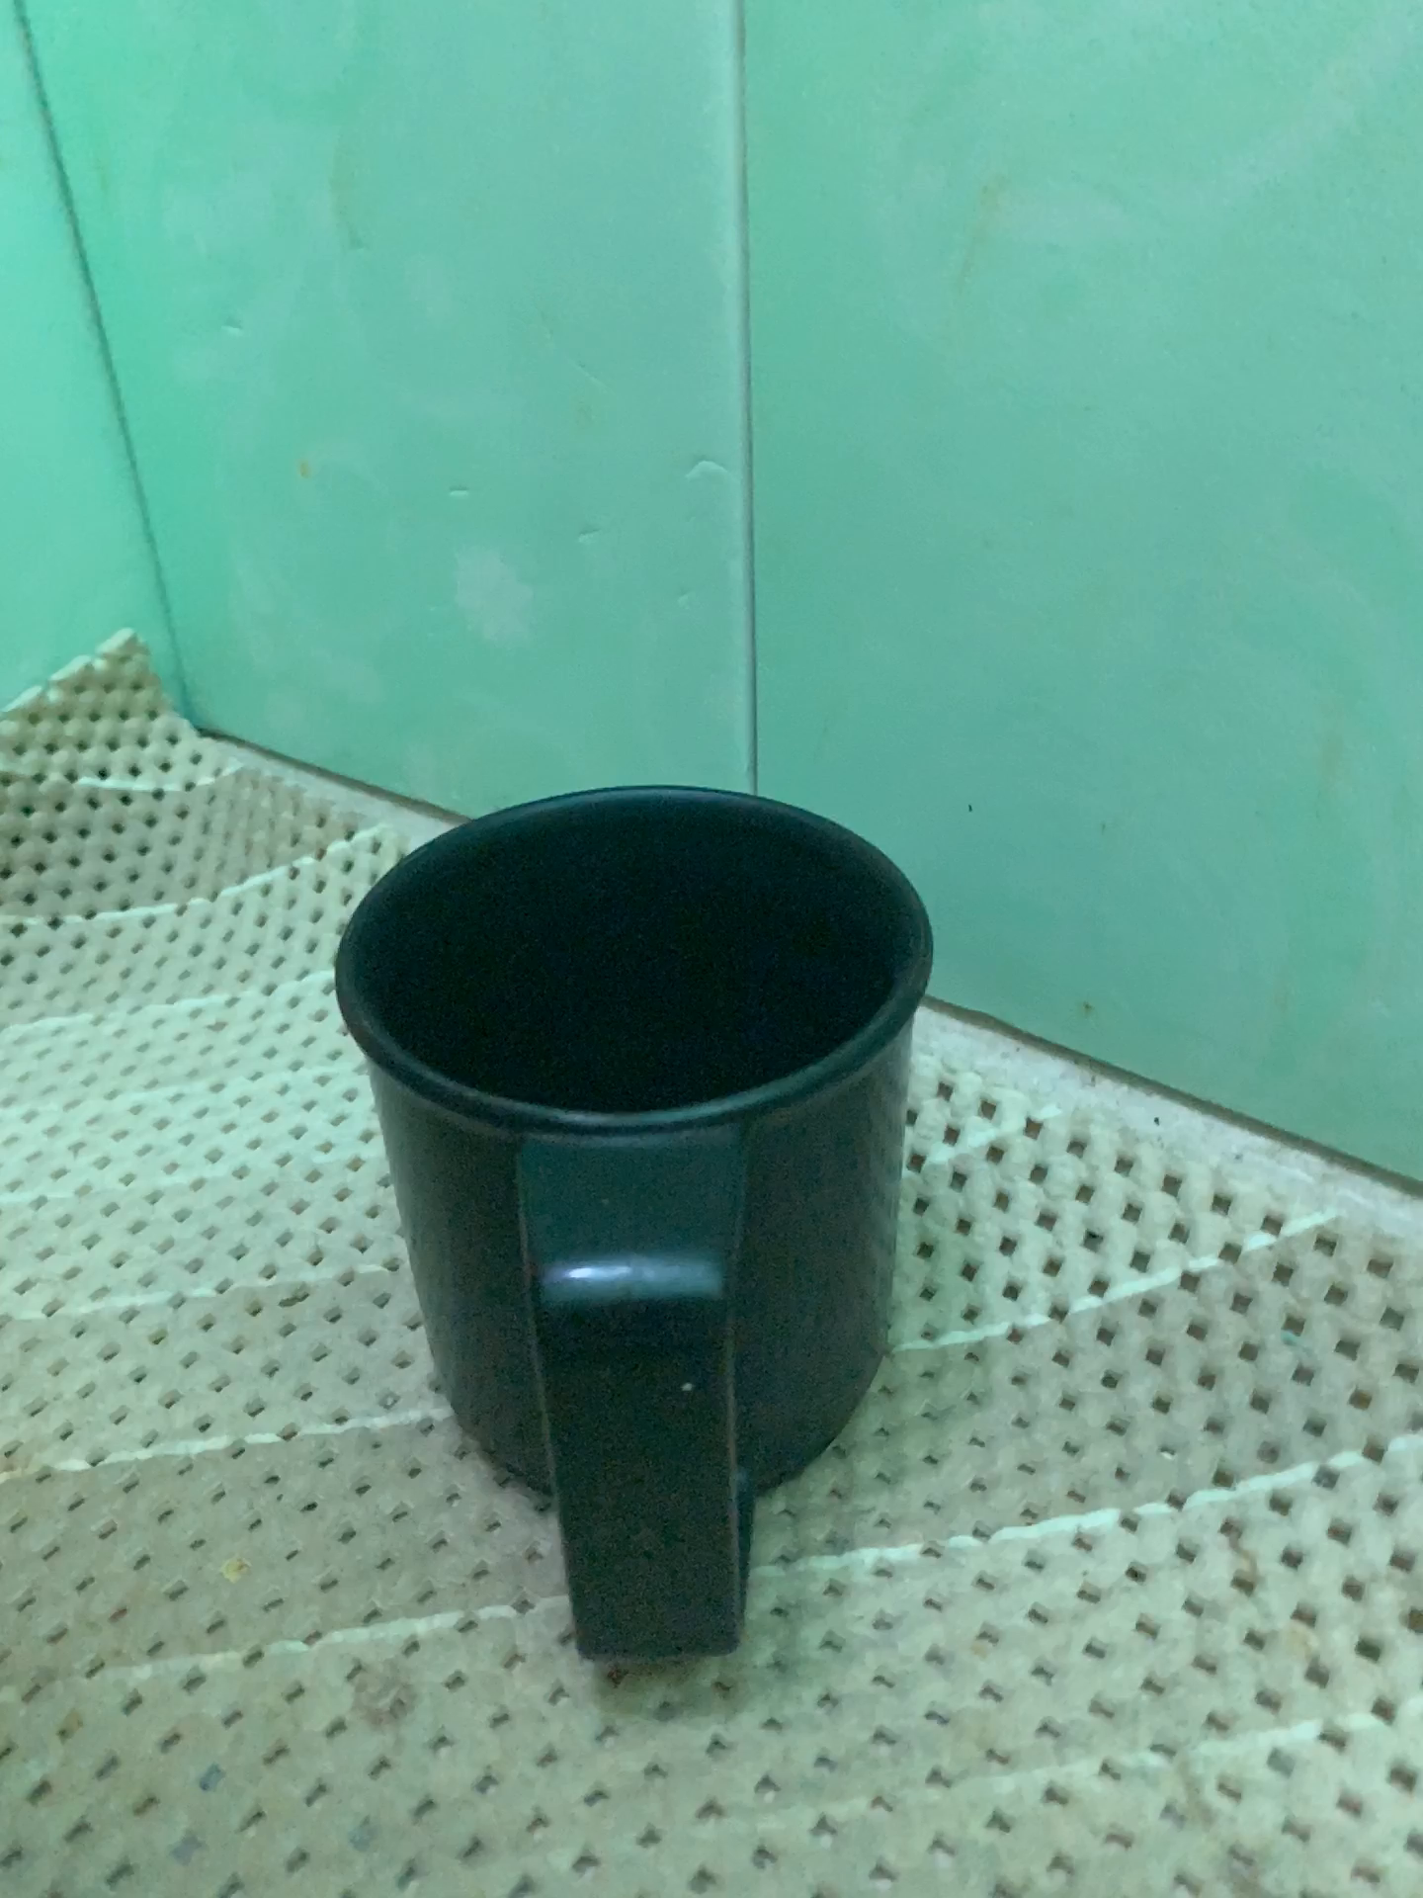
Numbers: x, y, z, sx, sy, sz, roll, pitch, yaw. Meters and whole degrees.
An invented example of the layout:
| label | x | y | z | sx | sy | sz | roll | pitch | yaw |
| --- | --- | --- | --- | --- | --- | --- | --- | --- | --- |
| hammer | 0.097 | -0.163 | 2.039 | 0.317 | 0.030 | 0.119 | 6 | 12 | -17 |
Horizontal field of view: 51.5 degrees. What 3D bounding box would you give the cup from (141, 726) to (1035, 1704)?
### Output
| label | x | y | z | sx | sy | sz | roll | pitch | yaw |
| --- | --- | --- | --- | --- | --- | --- | --- | --- | --- |
| cup | -0.013 | 0.031 | 0.217 | 0.090 | 0.082 | 0.112 | -3 | 34 | -1 |
